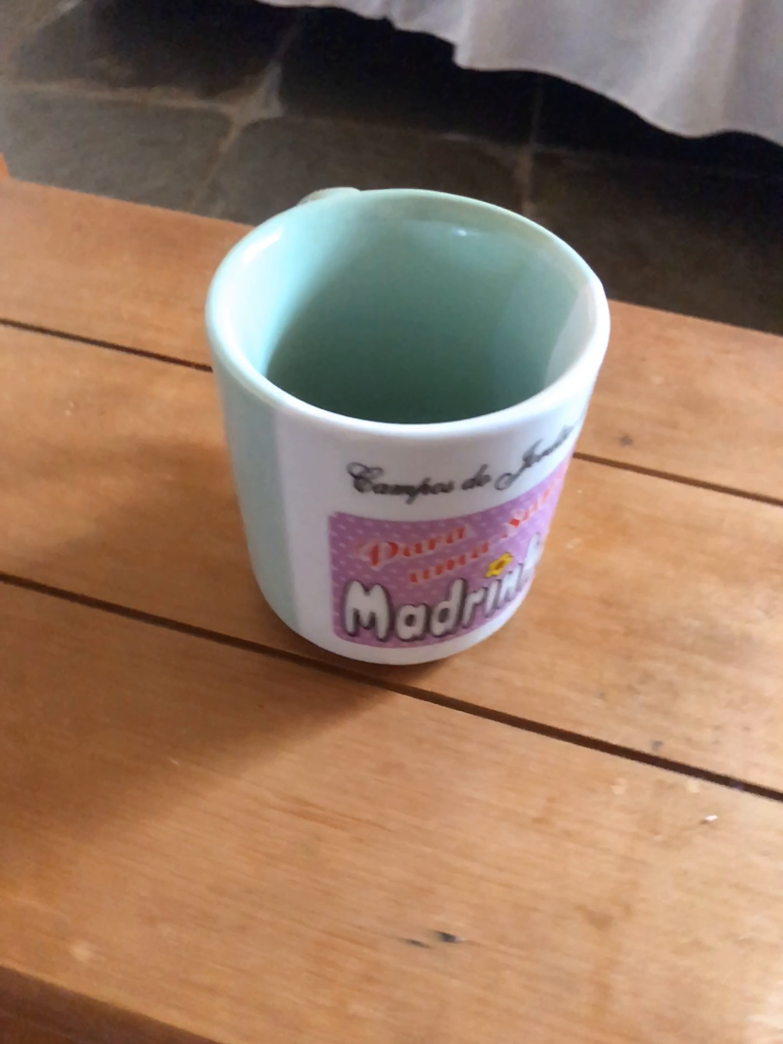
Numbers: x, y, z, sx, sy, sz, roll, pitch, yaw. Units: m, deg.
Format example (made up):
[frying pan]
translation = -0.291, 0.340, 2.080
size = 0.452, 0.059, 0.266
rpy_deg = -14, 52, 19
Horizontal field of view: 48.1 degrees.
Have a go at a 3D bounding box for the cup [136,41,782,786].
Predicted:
[cup]
translation = 0.000, -0.030, 0.197
size = 0.080, 0.089, 0.131
rpy_deg = -13, 52, -13
